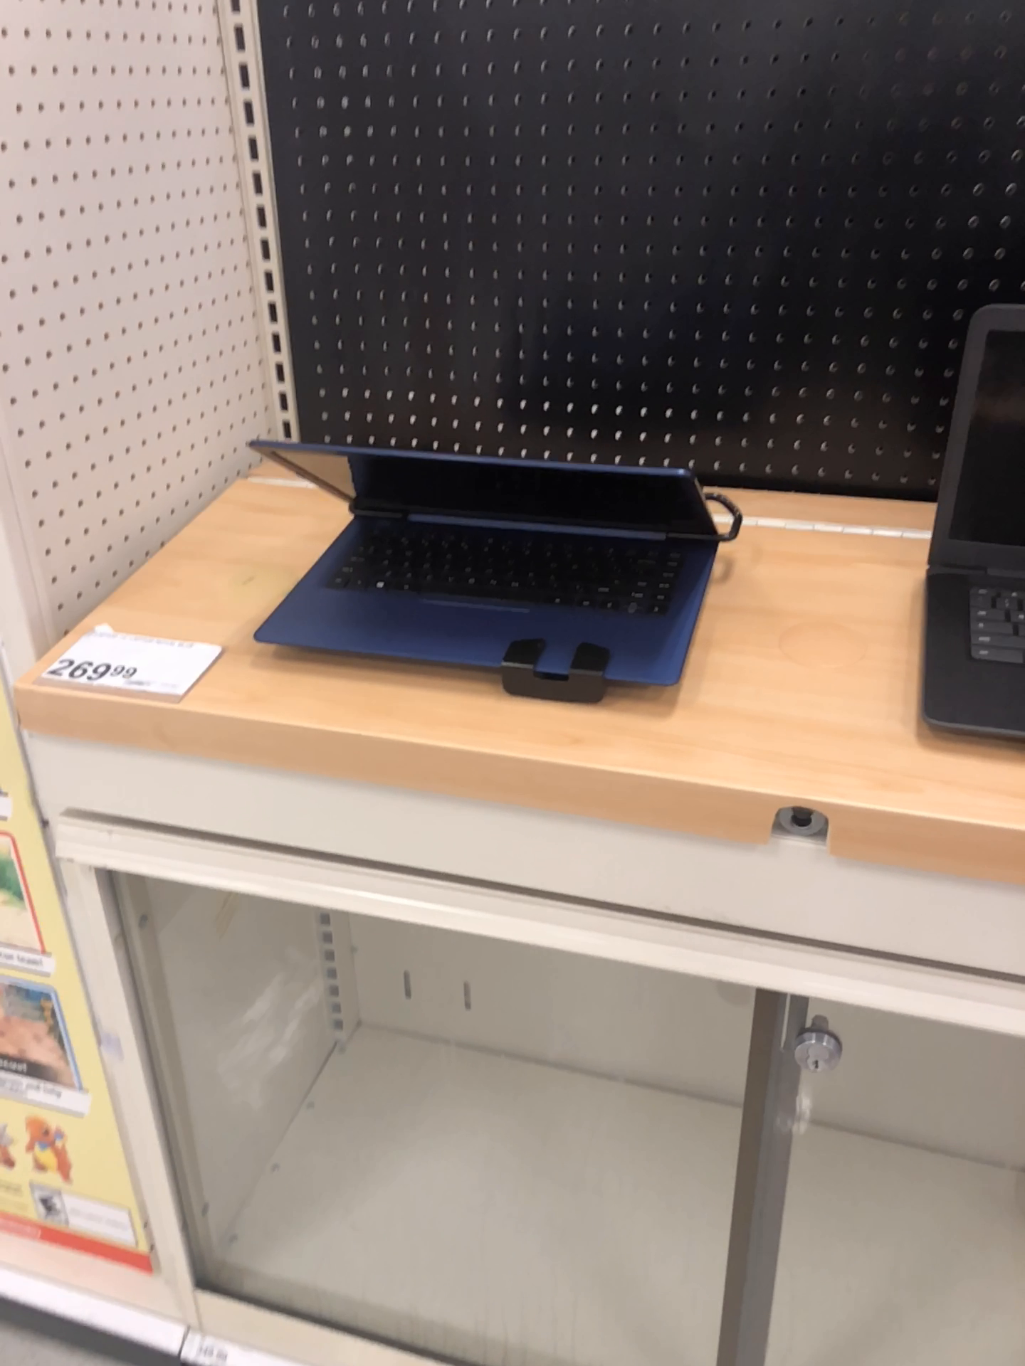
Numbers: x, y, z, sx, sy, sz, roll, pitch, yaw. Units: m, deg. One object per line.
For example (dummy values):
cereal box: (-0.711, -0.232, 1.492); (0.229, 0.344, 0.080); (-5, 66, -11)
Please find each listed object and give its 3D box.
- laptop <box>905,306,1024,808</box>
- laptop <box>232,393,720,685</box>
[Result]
laptop: (0.453, -0.100, 0.712); (0.330, 0.206, 0.224); (8, 32, 18)
laptop: (-0.019, -0.124, 0.861); (0.320, 0.111, 0.202); (7, 35, 16)
